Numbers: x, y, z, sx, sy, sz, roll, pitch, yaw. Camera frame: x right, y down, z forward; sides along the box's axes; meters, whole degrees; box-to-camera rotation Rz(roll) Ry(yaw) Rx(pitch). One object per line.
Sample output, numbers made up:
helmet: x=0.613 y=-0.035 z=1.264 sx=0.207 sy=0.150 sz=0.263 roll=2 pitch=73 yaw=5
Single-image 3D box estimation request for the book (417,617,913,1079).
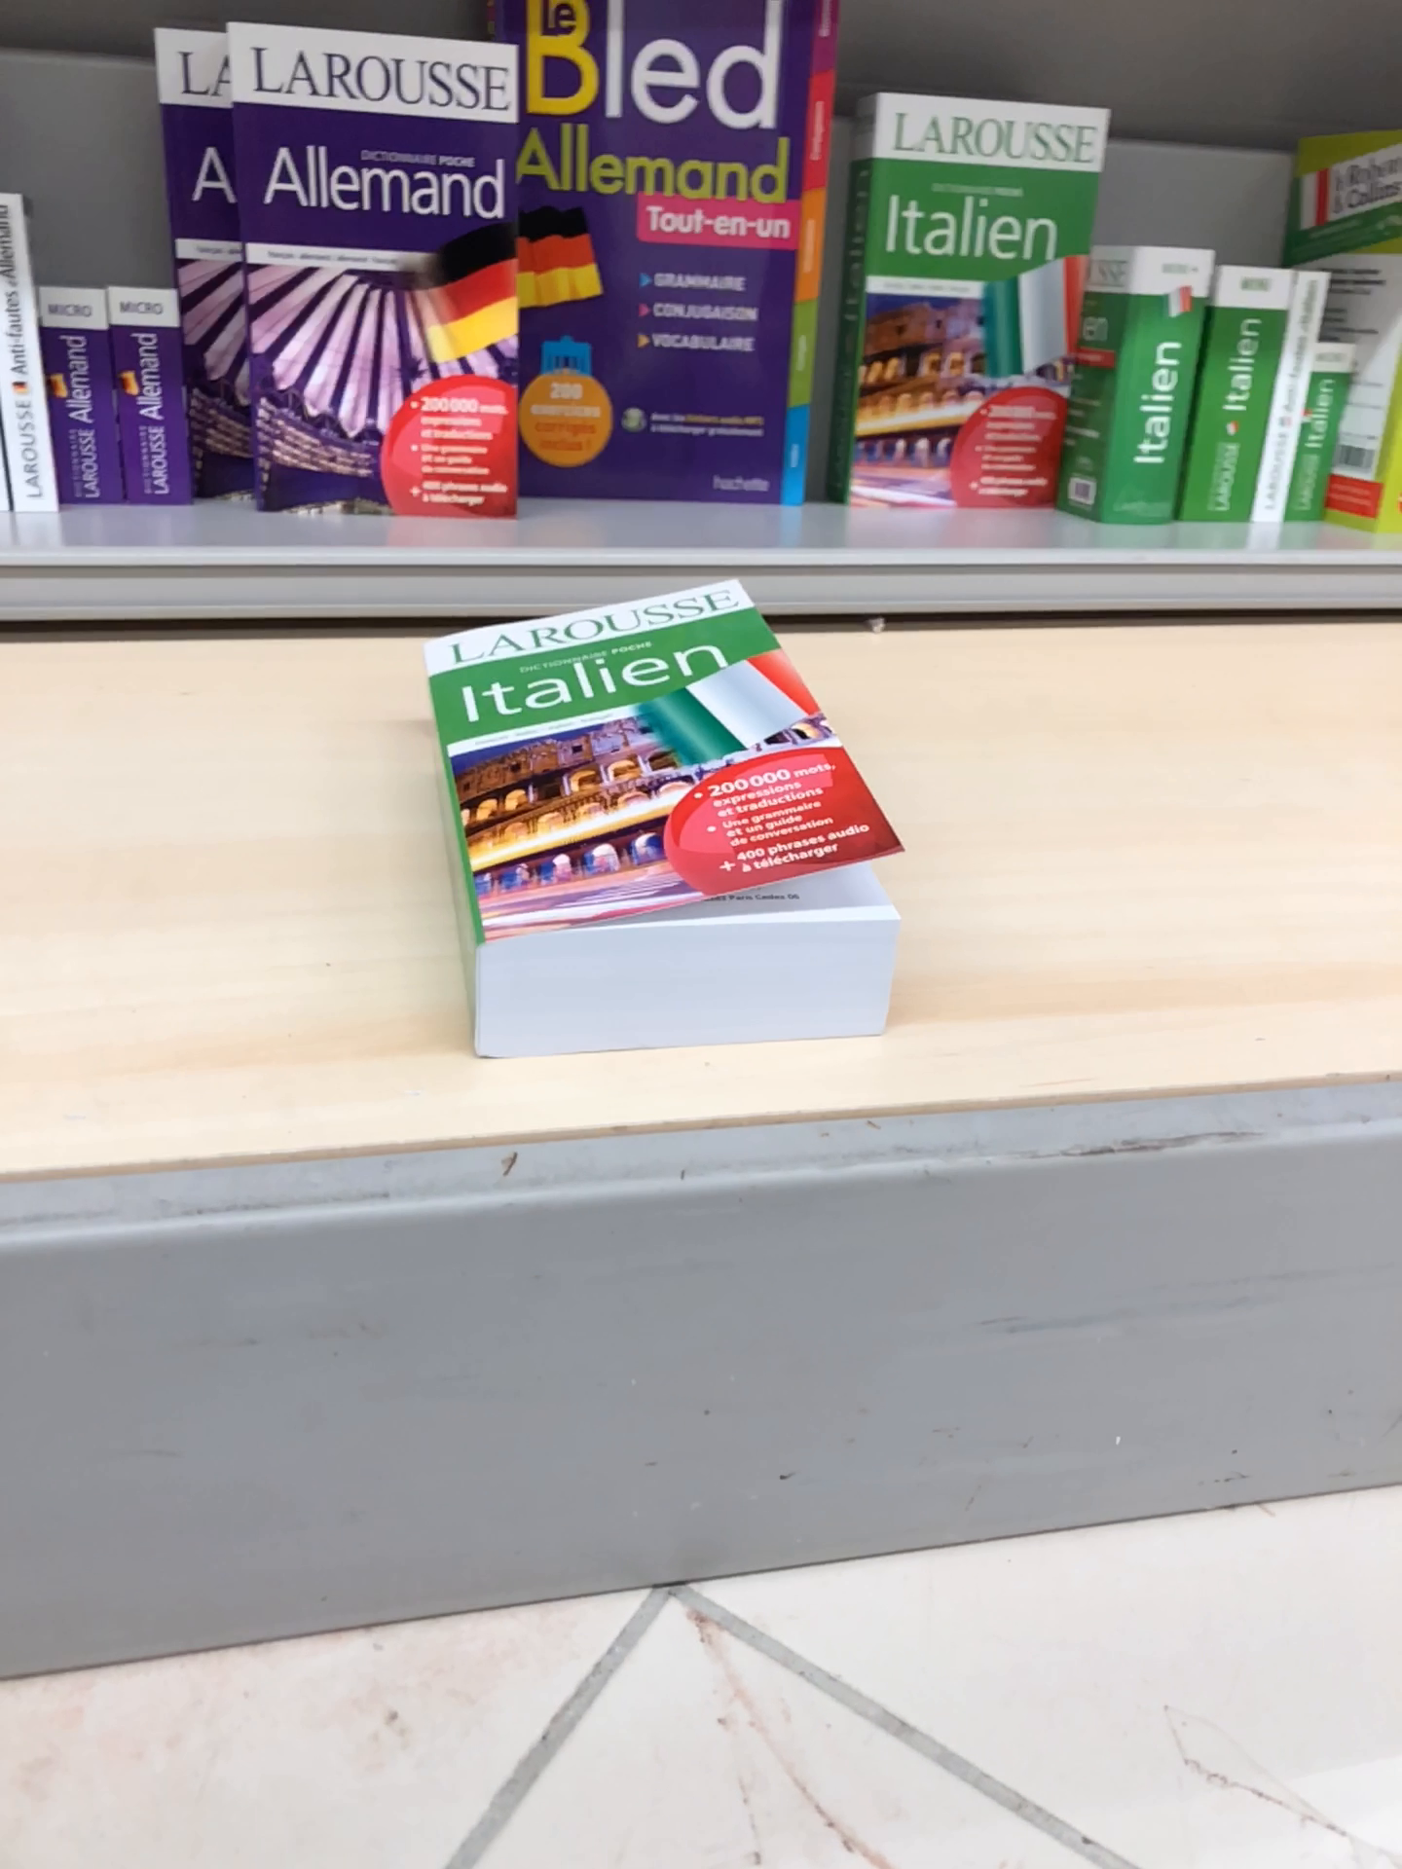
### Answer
book: x=-0.022 y=-0.036 z=0.449 sx=0.106 sy=0.045 sz=0.184 roll=-2 pitch=33 yaw=-14
